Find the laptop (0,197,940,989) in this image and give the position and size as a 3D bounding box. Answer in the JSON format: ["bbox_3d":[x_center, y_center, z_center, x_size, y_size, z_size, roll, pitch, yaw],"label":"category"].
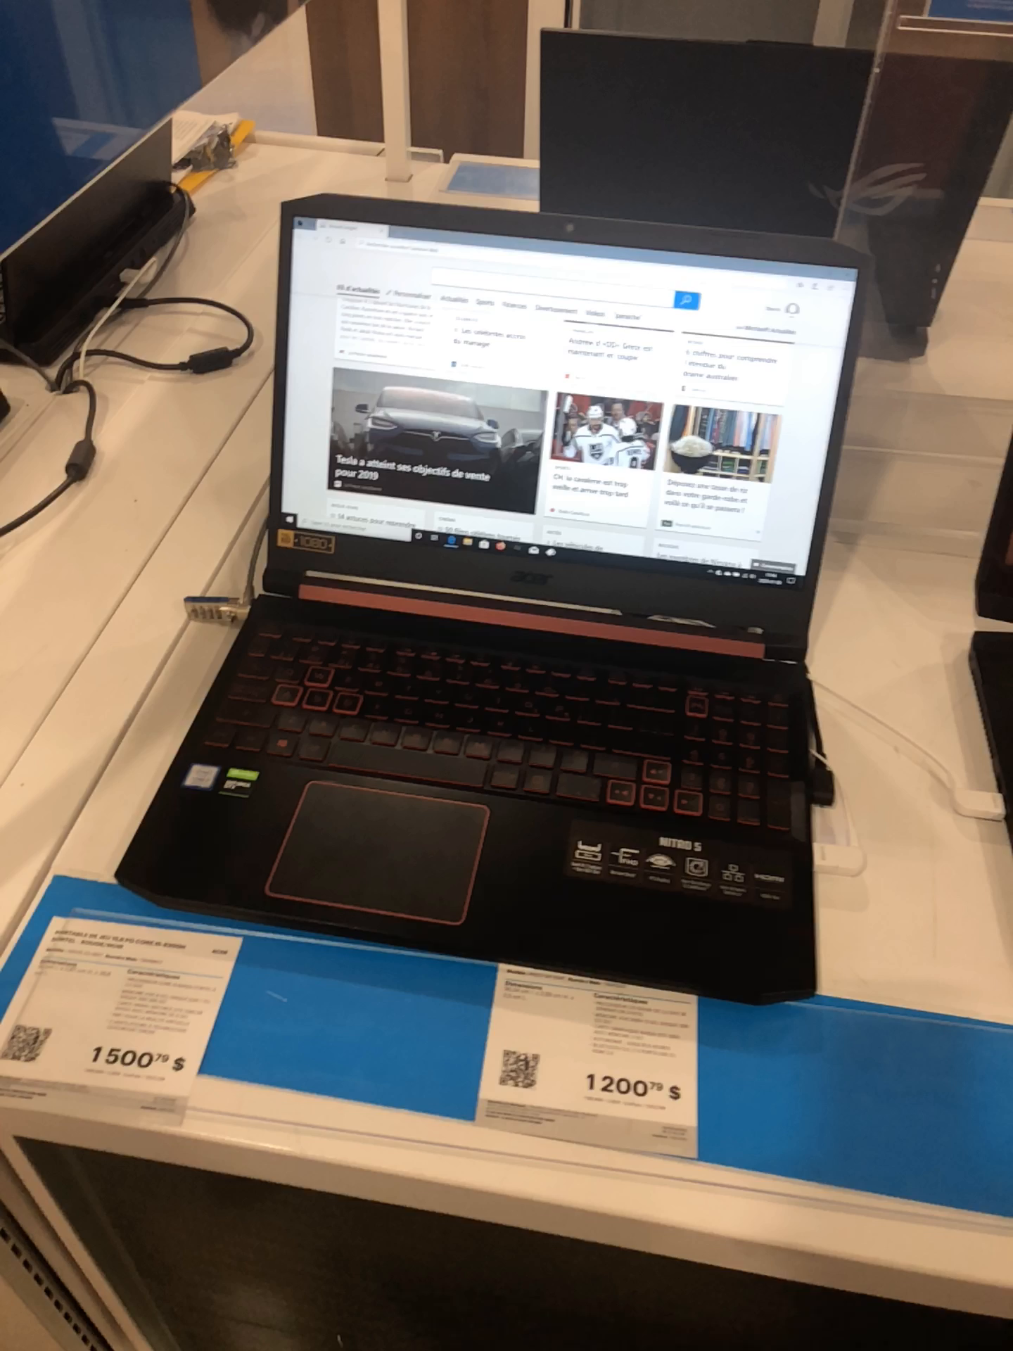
[{"bbox_3d":[0.006,-0.071,0.612,0.357,0.211,0.360,7,45,6],"label":"laptop"}]
